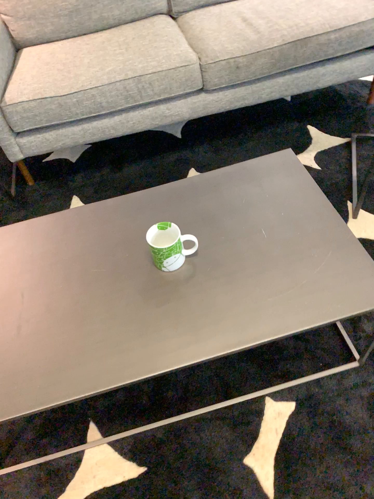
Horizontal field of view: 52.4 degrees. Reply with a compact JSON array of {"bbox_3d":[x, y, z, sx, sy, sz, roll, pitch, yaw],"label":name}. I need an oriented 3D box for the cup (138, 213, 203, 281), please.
[{"bbox_3d":[-0.038,-0.007,0.904,0.120,0.090,0.090,-21,51,-7],"label":"cup"}]
